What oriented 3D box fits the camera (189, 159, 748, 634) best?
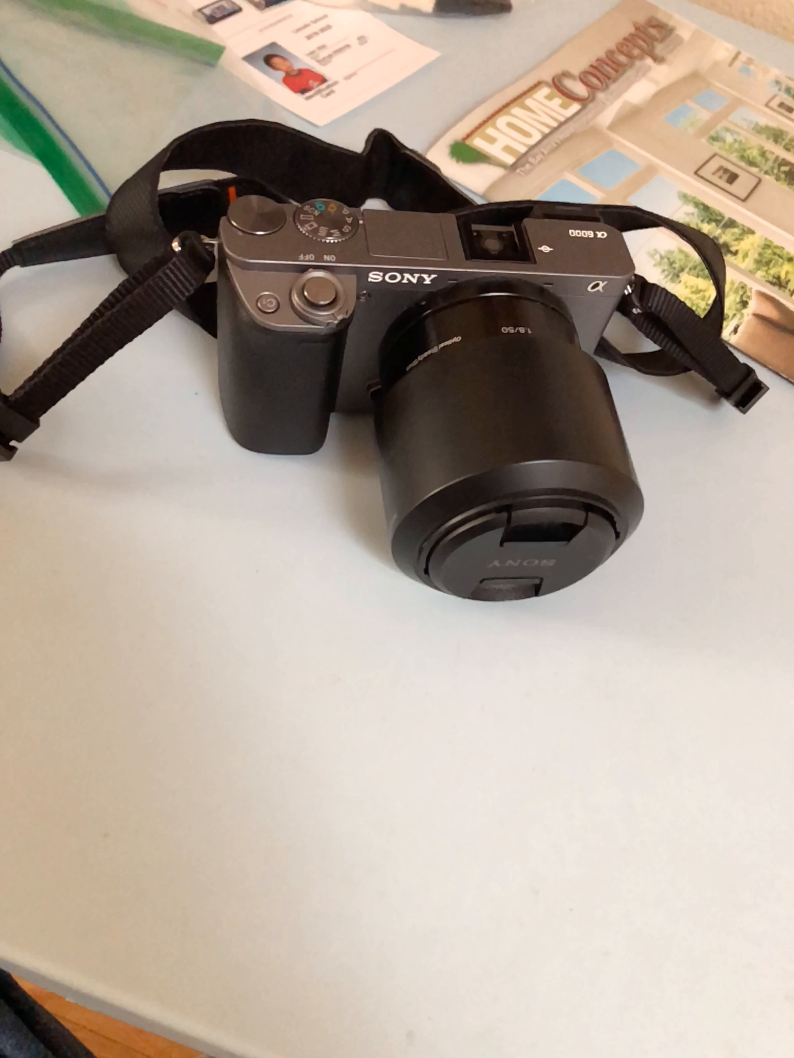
[{"bbox_3d":[0.009,-0.036,0.255,0.130,0.070,0.110,0,58,-12],"label":"camera"}]
